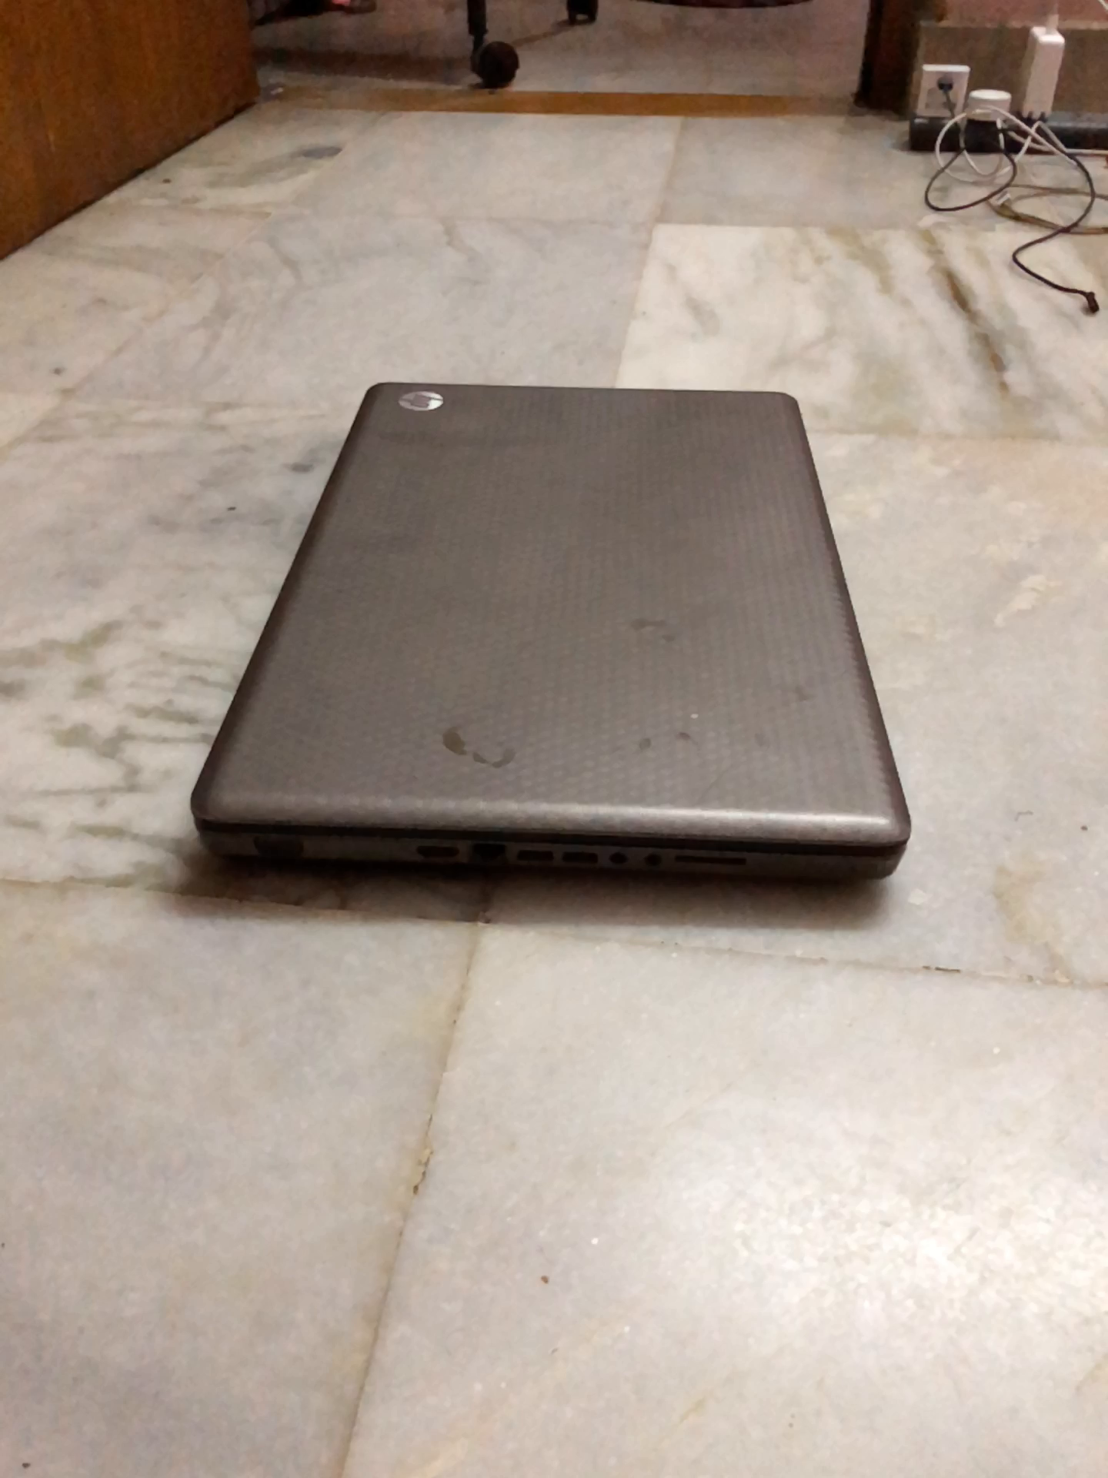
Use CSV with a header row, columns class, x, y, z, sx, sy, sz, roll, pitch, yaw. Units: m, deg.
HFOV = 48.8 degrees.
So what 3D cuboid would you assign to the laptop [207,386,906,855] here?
class,x,y,z,sx,sy,sz,roll,pitch,yaw
laptop,0.010,-0.088,0.595,0.252,0.003,0.396,2,39,2
